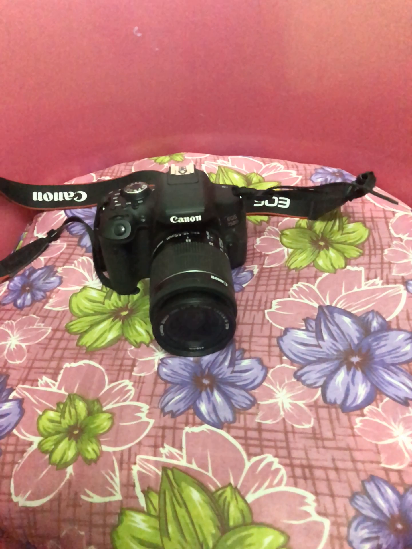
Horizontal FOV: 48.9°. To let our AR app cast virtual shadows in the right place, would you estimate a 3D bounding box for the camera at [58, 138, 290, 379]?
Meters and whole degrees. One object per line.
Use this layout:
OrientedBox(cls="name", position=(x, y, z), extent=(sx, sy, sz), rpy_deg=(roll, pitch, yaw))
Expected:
OrientedBox(cls="camera", position=(-0.021, -0.018, 0.364), extent=(0.140, 0.099, 0.161), rpy_deg=(-4, 46, 0))
